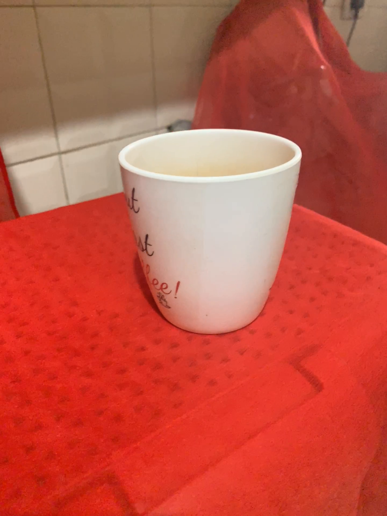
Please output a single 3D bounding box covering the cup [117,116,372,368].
[{"bbox_3d":[0.013,-0.019,0.213,0.090,0.079,0.111,-7,31,-10],"label":"cup"}]
